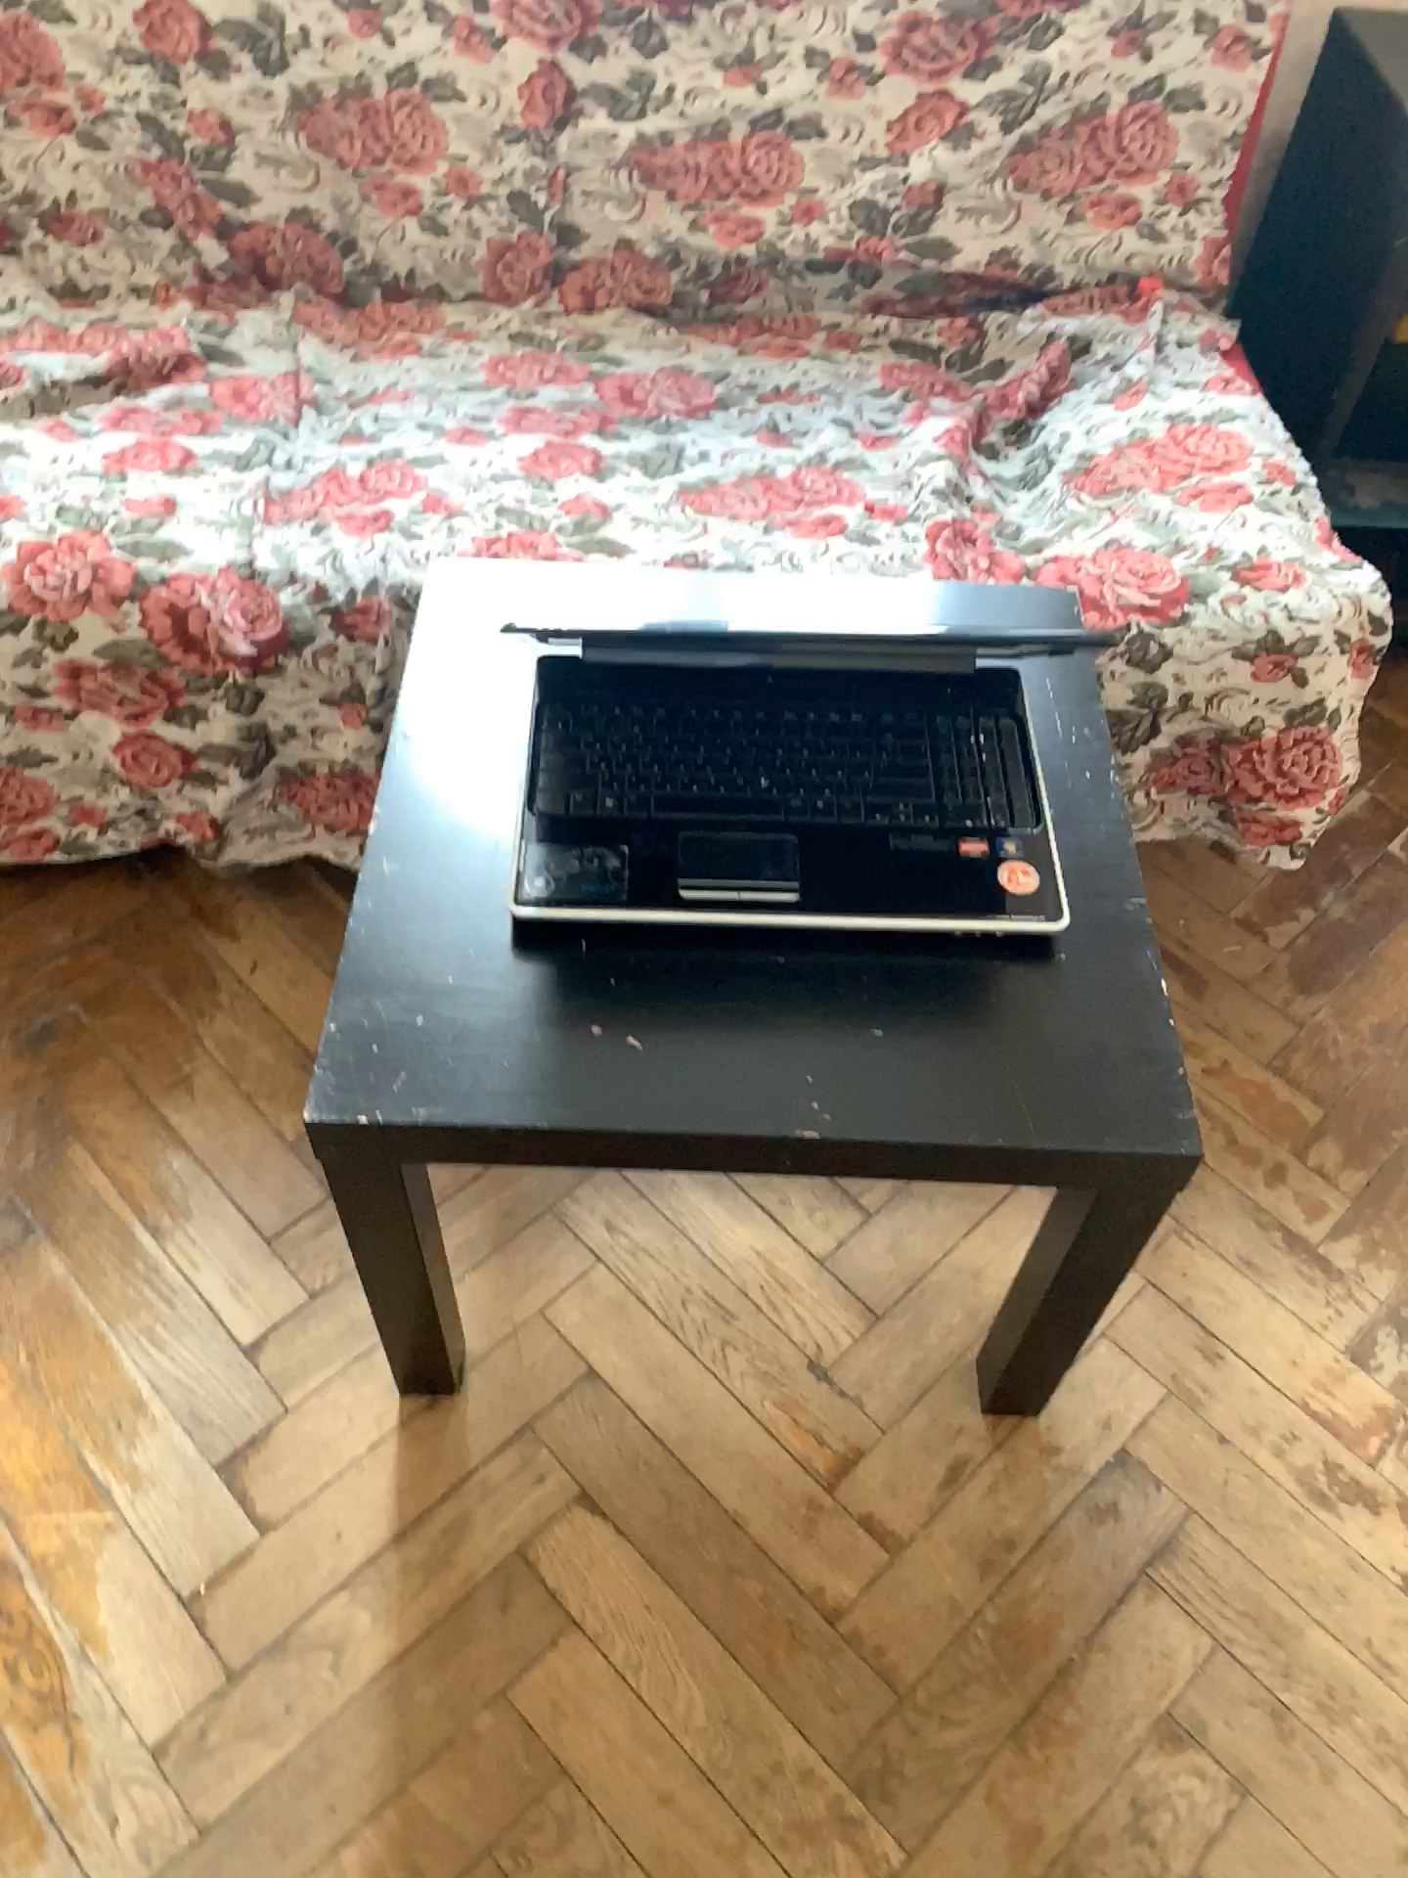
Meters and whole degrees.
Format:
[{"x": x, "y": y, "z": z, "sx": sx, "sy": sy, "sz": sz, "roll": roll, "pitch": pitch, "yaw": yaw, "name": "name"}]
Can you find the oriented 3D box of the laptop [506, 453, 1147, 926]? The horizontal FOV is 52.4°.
[{"x": 0.067, "y": -0.167, "z": 0.956, "sx": 0.364, "sy": 0.177, "sz": 0.253, "roll": 1, "pitch": 52, "yaw": -2, "name": "laptop"}]
